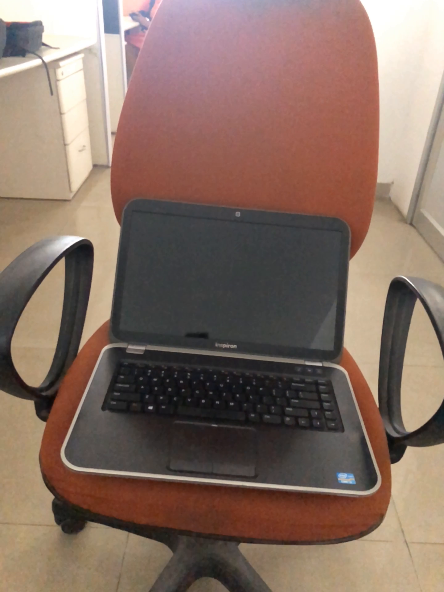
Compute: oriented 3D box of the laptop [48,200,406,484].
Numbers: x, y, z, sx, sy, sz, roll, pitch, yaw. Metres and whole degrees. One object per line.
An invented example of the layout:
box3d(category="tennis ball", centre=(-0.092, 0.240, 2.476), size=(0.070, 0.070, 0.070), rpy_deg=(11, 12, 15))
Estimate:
box3d(category="laptop", centre=(0.006, 0.031, 0.674), size=(0.352, 0.173, 0.353), rpy_deg=(5, 32, 2))
